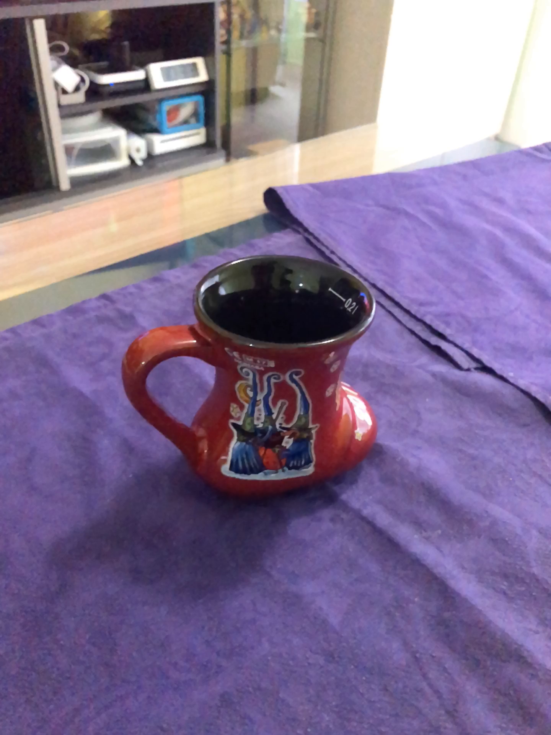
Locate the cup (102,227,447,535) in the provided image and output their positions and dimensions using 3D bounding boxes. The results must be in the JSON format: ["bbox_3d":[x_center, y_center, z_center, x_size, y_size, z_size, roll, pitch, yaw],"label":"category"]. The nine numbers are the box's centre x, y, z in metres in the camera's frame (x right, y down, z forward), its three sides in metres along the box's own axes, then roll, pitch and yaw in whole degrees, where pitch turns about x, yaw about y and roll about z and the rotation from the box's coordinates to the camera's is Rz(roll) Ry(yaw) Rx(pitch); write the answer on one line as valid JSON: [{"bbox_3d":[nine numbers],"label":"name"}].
[{"bbox_3d":[-0.004,0.001,0.273,0.120,0.090,0.070,-12,40,-20],"label":"cup"}]
